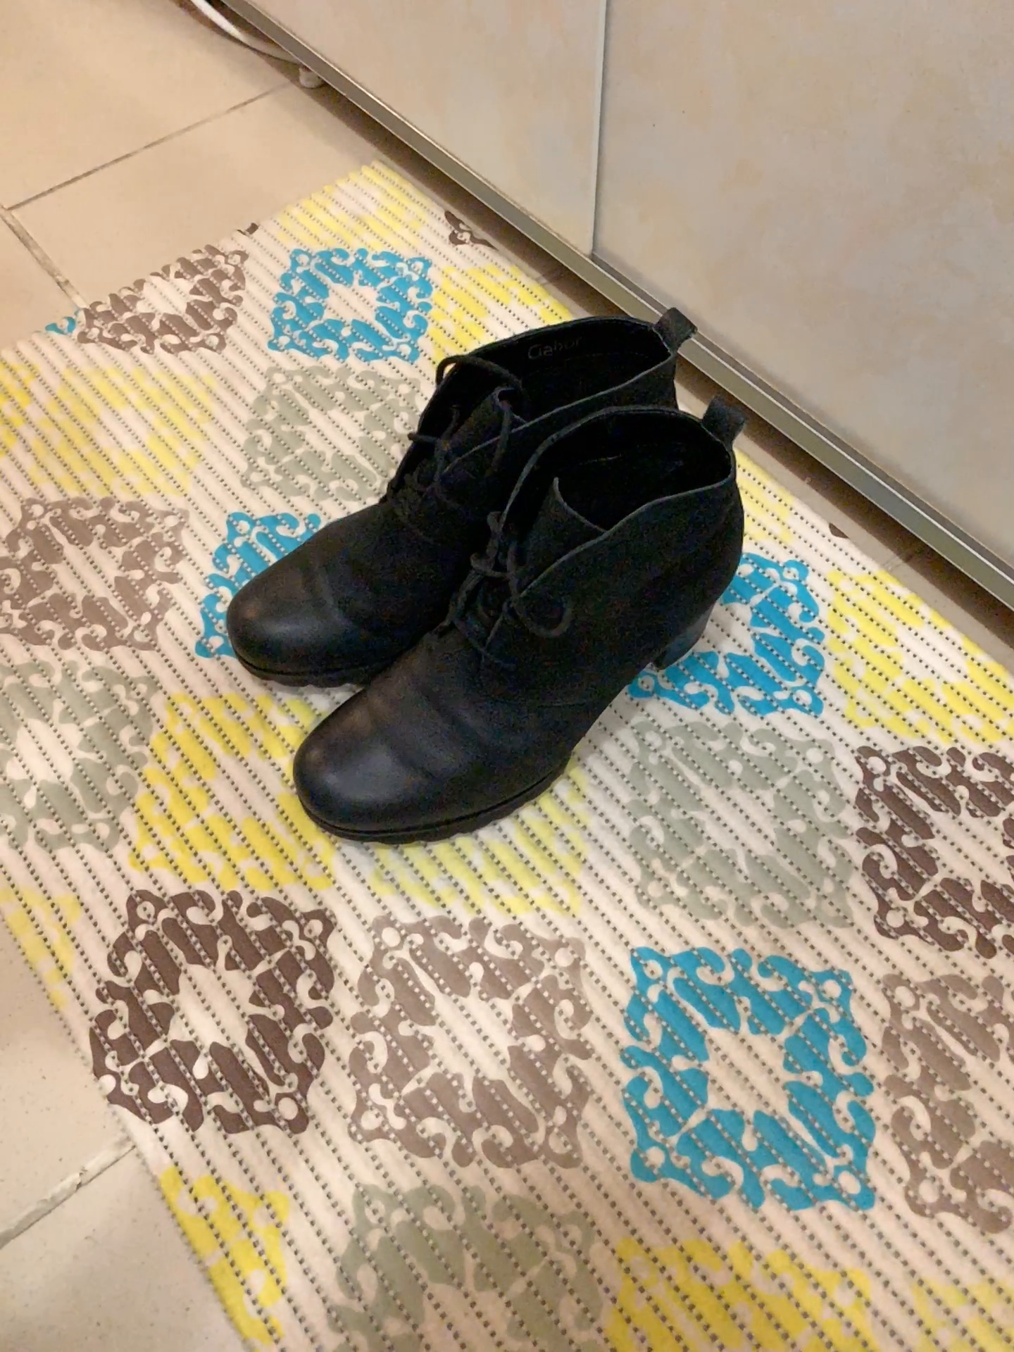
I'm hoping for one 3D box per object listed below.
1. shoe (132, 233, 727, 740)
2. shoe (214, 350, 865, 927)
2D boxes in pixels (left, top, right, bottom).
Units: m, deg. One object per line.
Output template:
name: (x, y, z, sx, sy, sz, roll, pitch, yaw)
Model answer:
shoe: (-0.030, -0.085, 0.496, 0.230, 0.150, 0.090, -24, 63, -12)
shoe: (0.017, -0.012, 0.451, 0.230, 0.150, 0.090, -30, 64, -15)
